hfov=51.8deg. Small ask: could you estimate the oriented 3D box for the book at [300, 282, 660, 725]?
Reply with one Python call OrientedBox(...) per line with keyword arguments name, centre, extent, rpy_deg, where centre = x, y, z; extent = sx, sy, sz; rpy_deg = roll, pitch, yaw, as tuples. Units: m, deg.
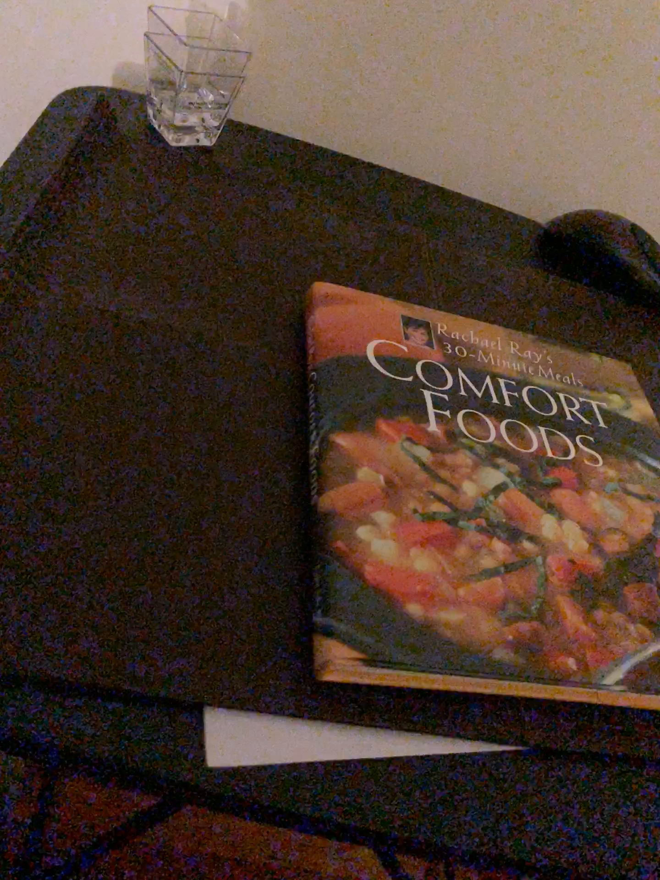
OrientedBox(name="book", centre=(0.087, 0.019, 0.314), extent=(0.200, 0.020, 0.201), rpy_deg=(11, 47, -16))
